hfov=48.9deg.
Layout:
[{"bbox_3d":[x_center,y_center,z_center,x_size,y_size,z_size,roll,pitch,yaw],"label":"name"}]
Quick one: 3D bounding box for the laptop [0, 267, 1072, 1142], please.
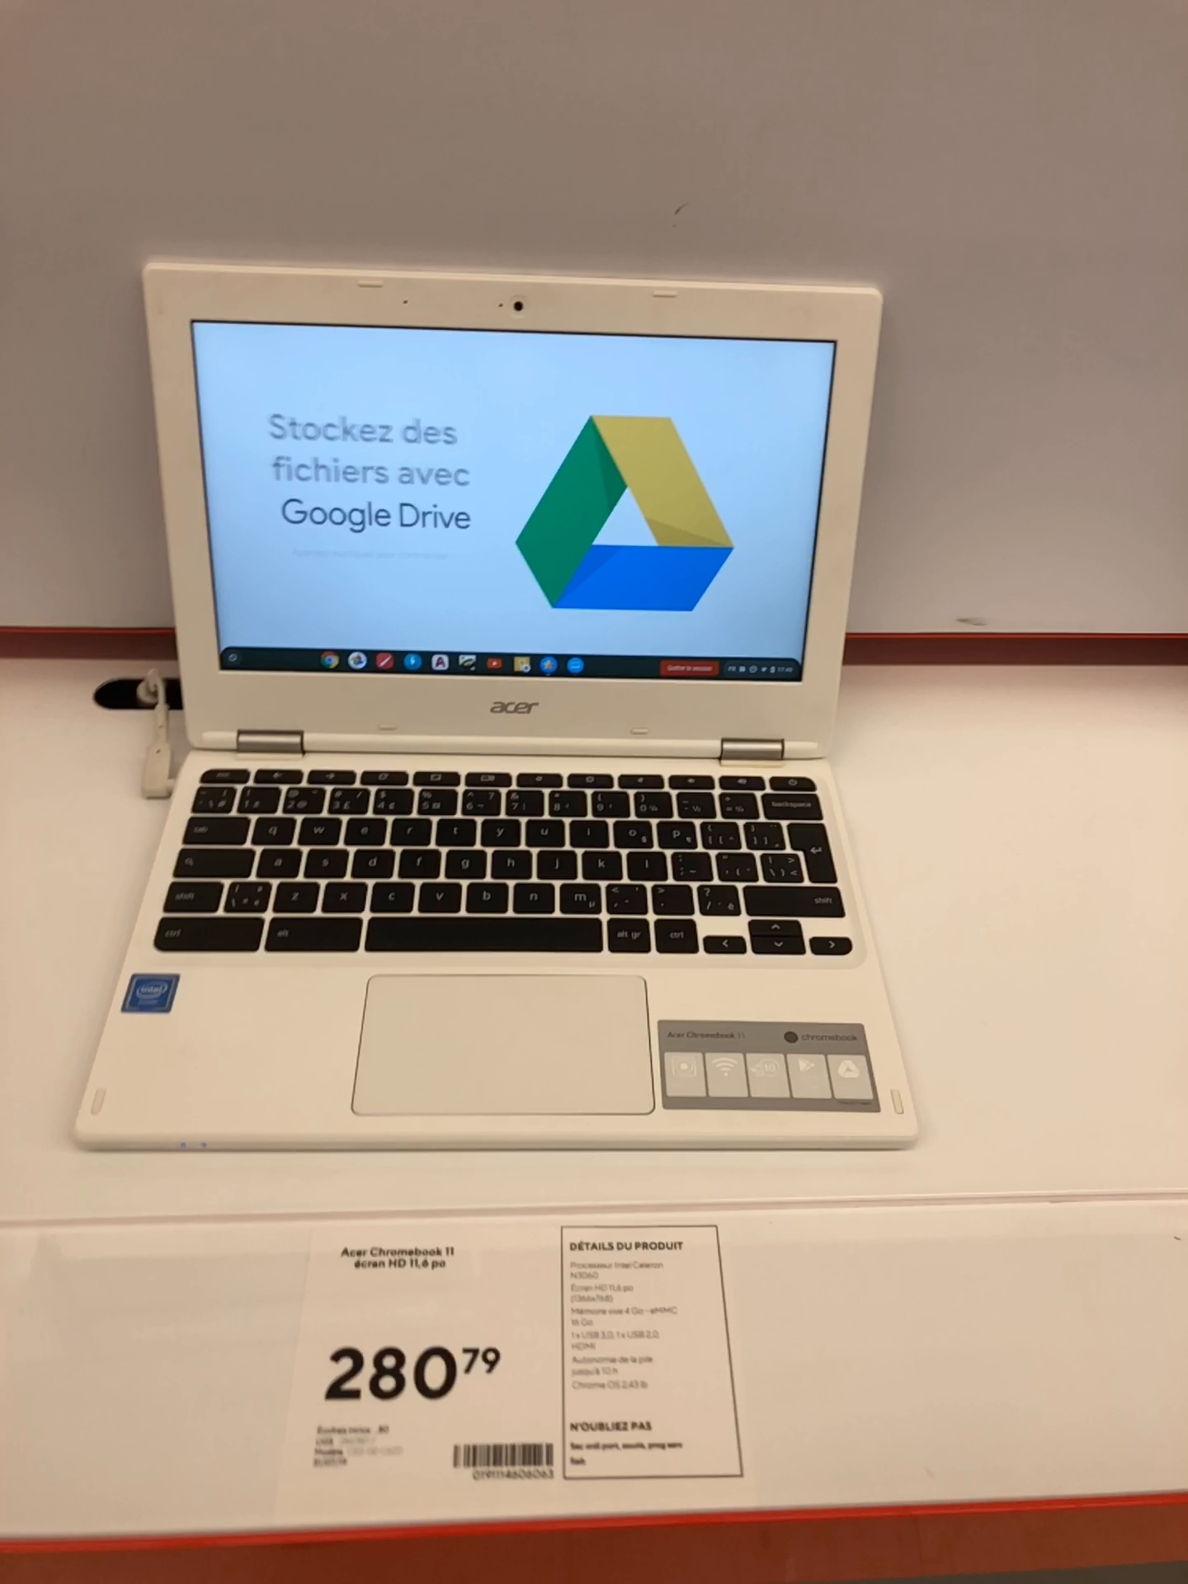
[{"bbox_3d":[-0.031,-0.040,0.473,0.282,0.188,0.260,1,43,-3],"label":"laptop"}]
